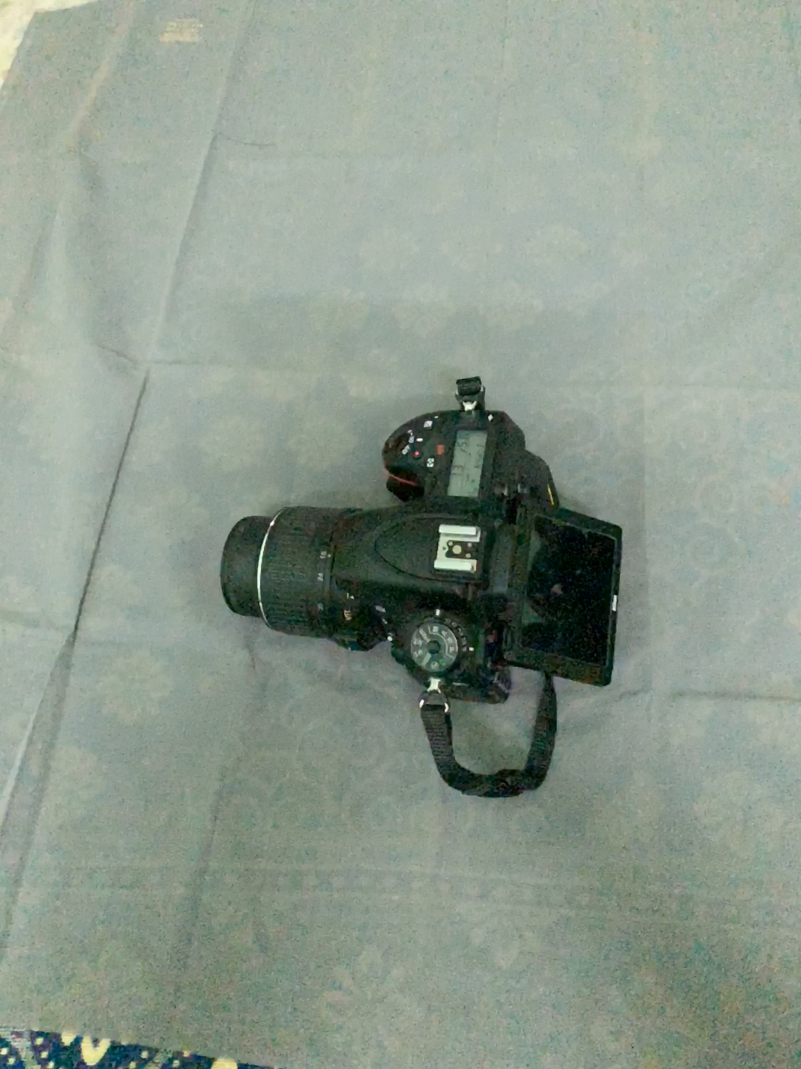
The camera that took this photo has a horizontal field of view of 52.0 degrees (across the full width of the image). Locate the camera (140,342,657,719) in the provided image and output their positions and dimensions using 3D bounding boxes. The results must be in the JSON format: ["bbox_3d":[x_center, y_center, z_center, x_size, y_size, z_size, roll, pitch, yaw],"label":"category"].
[{"bbox_3d":[0.006,-0.003,0.441,0.230,0.100,0.165,3,66,6],"label":"camera"}]
